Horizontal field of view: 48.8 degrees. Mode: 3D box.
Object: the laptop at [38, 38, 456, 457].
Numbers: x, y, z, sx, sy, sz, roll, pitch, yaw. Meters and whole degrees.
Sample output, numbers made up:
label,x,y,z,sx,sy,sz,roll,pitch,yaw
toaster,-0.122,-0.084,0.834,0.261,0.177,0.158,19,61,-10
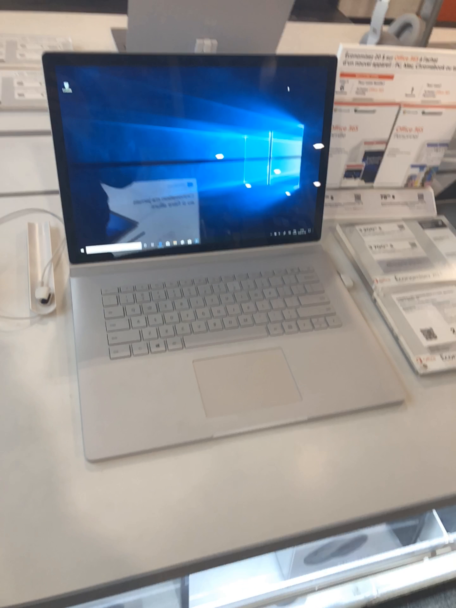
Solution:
label,x,y,z,sx,sy,sz,roll,pitch,yaw
laptop,-0.002,-0.086,0.542,0.338,0.207,0.366,-7,52,-16
